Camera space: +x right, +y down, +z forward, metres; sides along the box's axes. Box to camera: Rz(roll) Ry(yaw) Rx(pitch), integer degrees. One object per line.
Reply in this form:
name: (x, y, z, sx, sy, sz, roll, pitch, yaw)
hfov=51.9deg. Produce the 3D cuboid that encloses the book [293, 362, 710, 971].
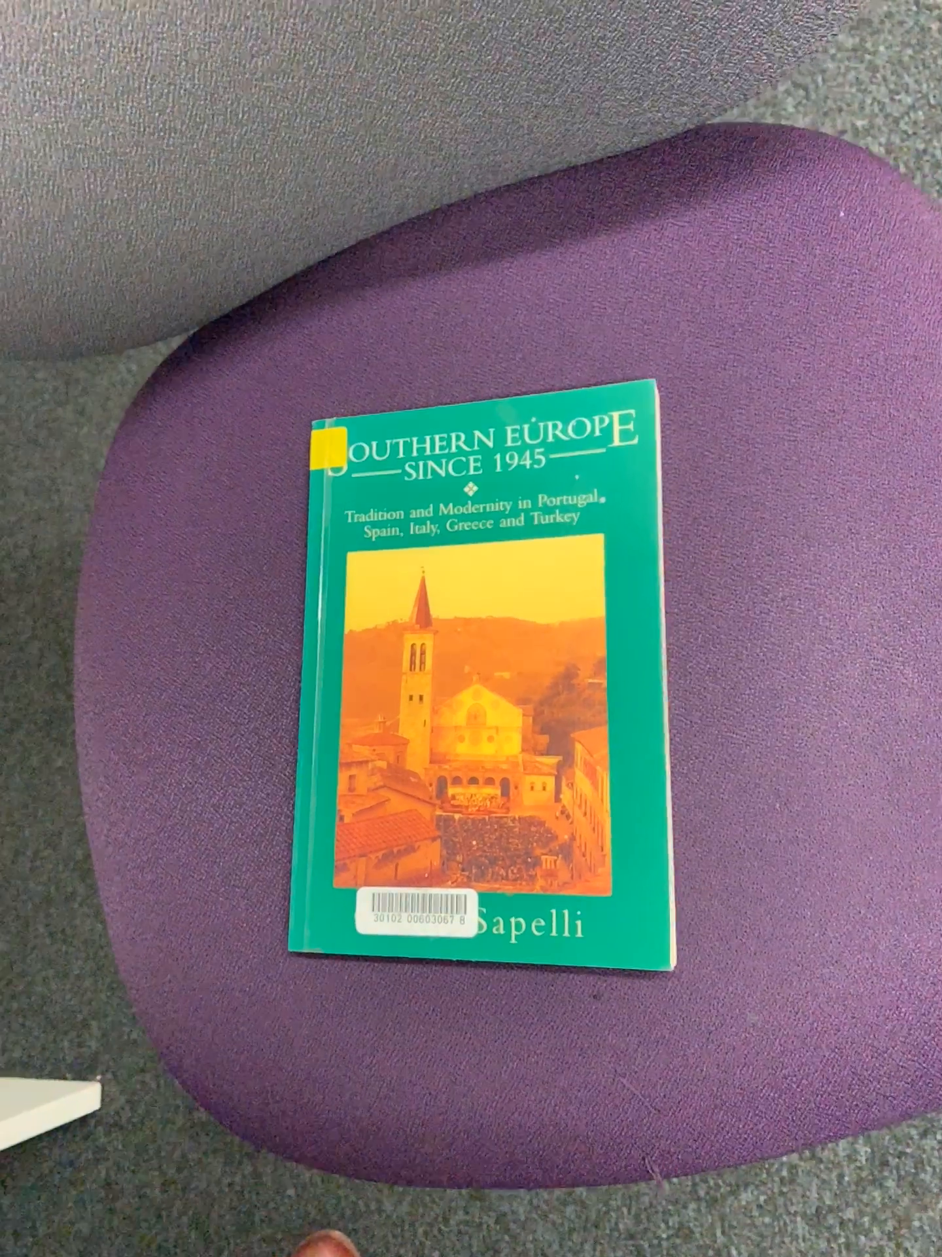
book: (0.009, 0.013, 0.378, 0.153, 0.020, 0.221, -3, 78, 16)
